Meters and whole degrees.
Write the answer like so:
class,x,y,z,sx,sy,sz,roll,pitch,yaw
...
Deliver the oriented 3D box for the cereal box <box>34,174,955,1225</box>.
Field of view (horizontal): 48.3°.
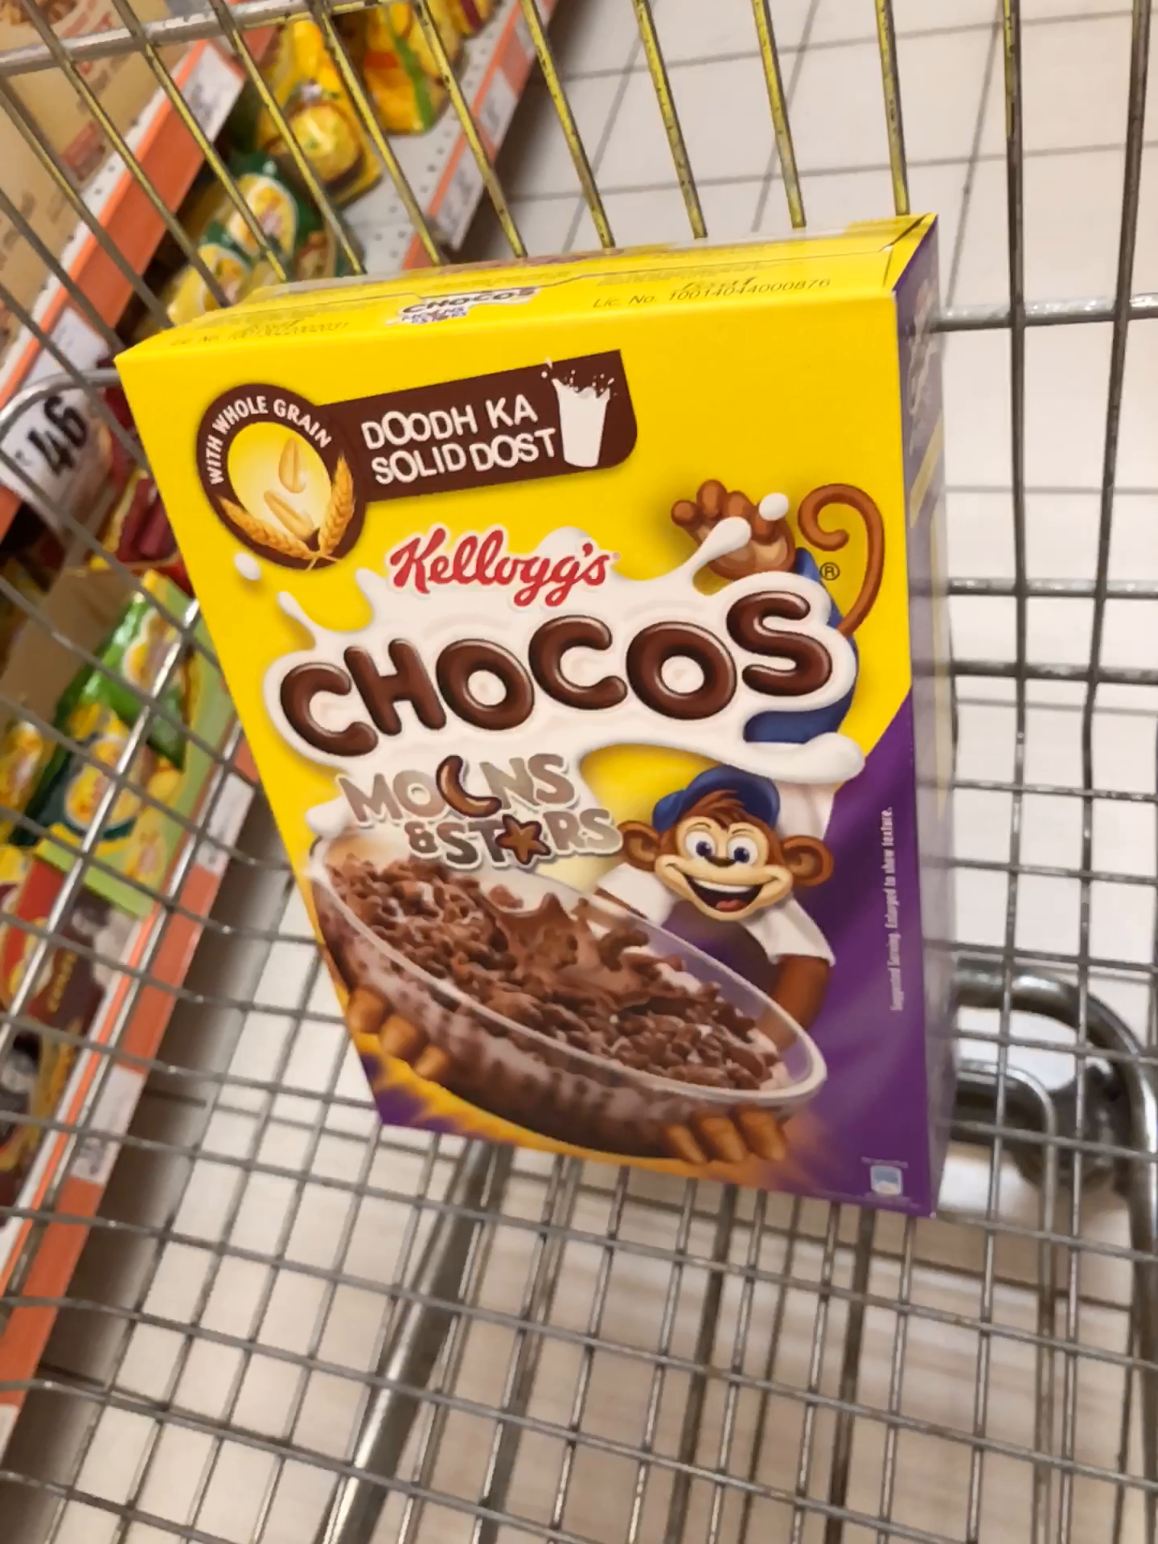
class,x,y,z,sx,sy,sz,roll,pitch,yaw
cereal box,-0.003,-0.008,0.345,0.190,0.249,0.070,3,32,21
